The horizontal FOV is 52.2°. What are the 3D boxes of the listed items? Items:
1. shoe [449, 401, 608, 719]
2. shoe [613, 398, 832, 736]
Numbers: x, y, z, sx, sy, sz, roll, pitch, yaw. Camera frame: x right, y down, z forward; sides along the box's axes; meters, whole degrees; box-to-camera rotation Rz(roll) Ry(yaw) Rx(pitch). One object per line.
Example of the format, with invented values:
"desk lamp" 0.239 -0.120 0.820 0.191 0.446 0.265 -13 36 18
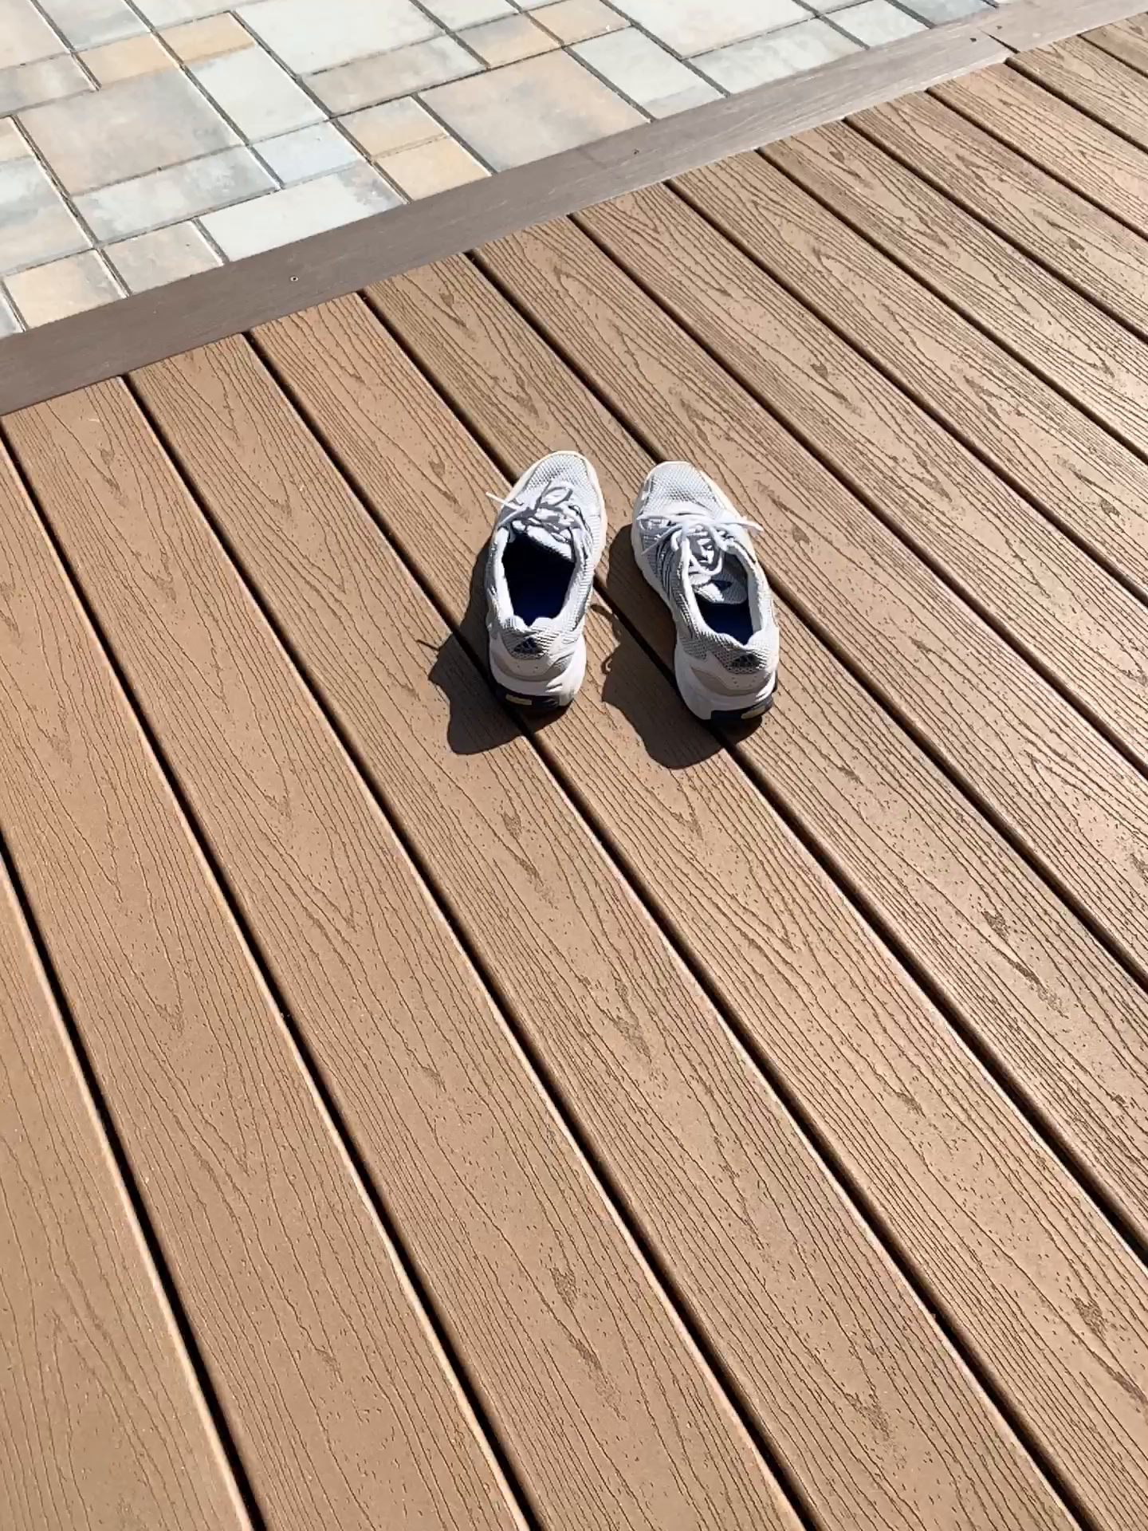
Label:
"shoe" -0.034 -0.191 1.057 0.120 0.100 0.291 2 56 1
"shoe" 0.122 -0.185 1.051 0.120 0.100 0.301 -8 57 -5
